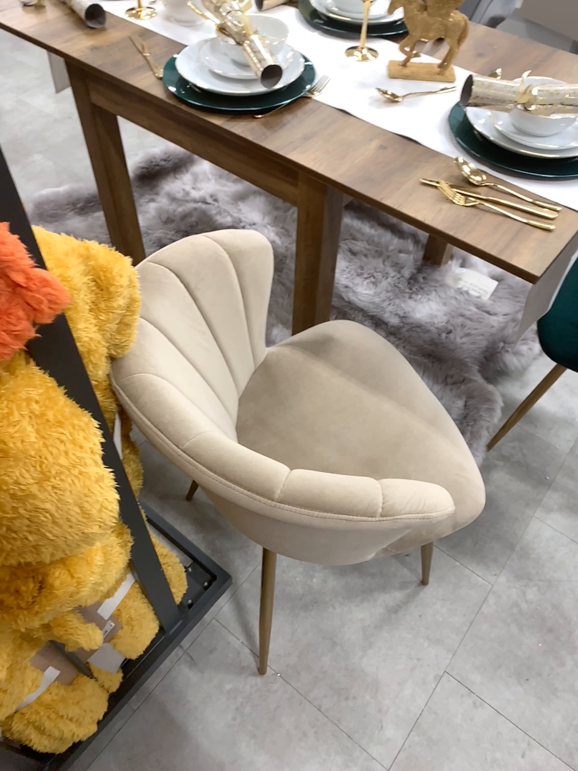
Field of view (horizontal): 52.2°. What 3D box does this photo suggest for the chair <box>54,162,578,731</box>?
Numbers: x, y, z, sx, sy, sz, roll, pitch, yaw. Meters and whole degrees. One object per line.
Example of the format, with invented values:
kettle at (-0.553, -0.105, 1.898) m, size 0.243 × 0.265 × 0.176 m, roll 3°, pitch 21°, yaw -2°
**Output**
chair at (0.036, 0.118, 1.040) m, size 0.573 × 0.667 × 0.565 m, roll -20°, pitch 55°, yaw -17°
